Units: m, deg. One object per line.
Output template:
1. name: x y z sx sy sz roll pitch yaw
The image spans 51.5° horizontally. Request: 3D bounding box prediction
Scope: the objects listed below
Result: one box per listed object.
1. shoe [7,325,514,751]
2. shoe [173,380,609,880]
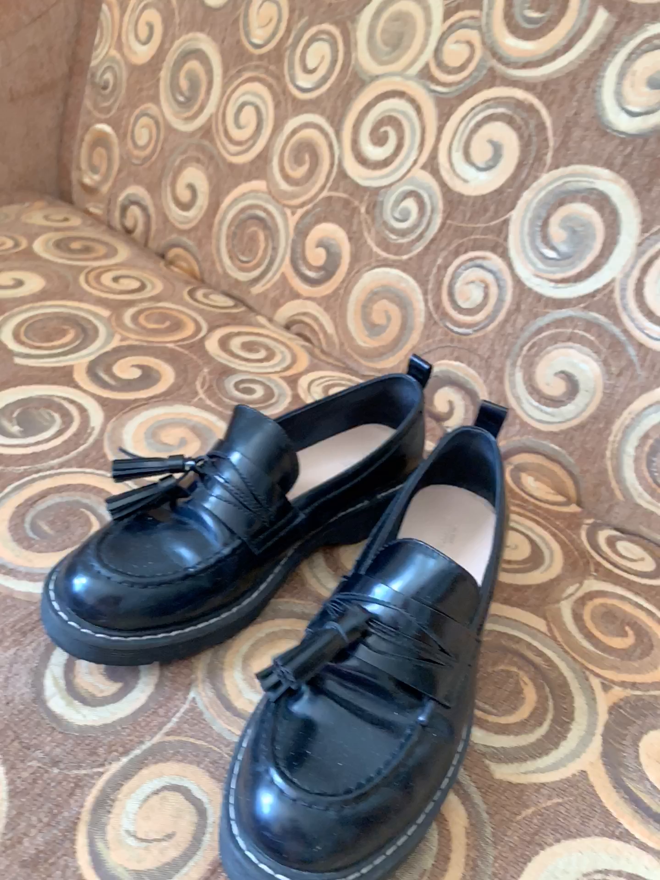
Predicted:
1. shoe: -0.024 0.034 0.366 0.240 0.099 0.090 -25 50 -33
2. shoe: 0.043 0.086 0.307 0.090 0.099 0.241 22 42 17
